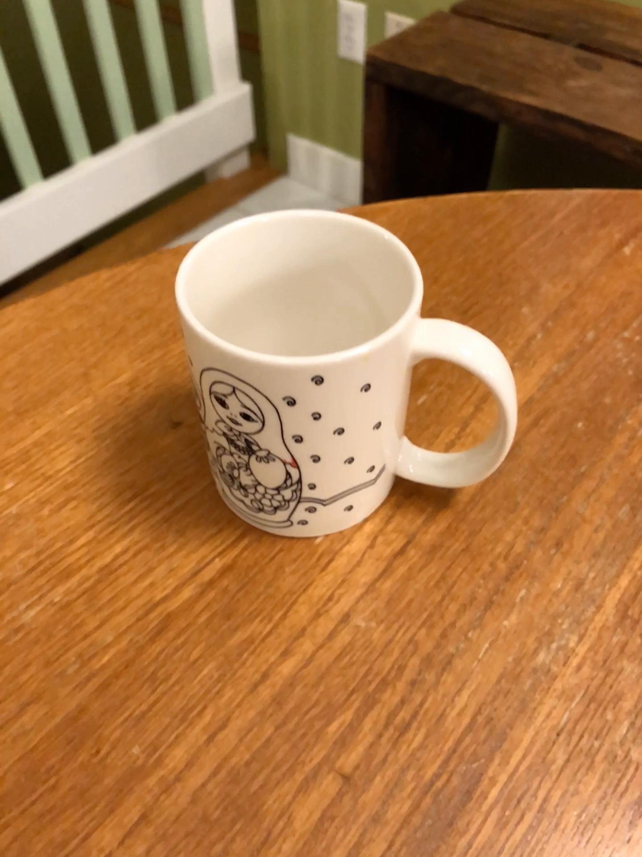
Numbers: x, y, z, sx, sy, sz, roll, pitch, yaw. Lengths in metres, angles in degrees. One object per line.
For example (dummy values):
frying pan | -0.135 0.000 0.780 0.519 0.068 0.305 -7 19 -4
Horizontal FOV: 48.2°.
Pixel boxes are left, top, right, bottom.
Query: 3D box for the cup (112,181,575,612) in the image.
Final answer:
cup | 0.011 -0.014 0.269 0.126 0.099 0.088 17 51 15
